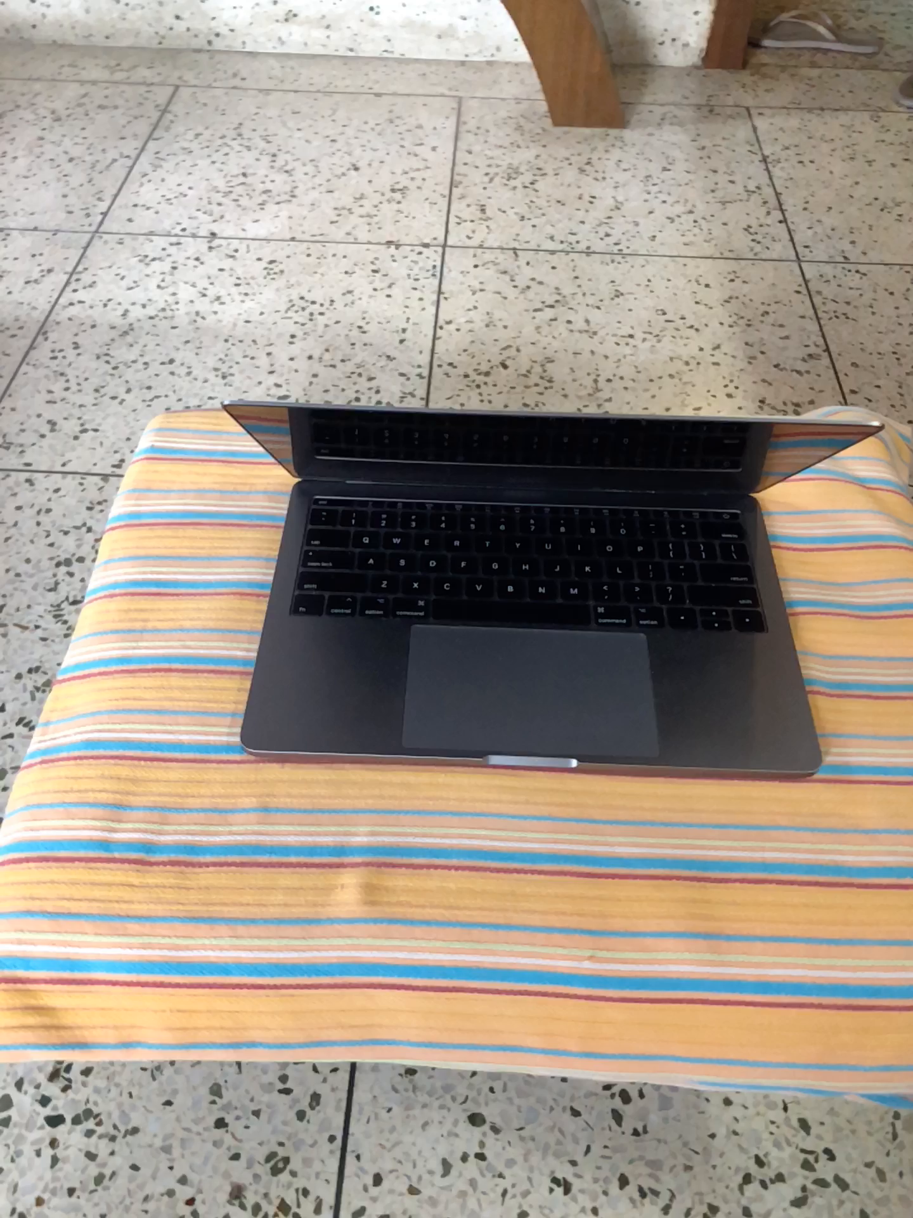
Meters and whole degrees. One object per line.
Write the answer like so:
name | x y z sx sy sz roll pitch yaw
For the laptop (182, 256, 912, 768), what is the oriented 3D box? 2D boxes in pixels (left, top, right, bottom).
laptop | 0.039 -0.053 0.525 0.294 0.159 0.204 2 48 1
